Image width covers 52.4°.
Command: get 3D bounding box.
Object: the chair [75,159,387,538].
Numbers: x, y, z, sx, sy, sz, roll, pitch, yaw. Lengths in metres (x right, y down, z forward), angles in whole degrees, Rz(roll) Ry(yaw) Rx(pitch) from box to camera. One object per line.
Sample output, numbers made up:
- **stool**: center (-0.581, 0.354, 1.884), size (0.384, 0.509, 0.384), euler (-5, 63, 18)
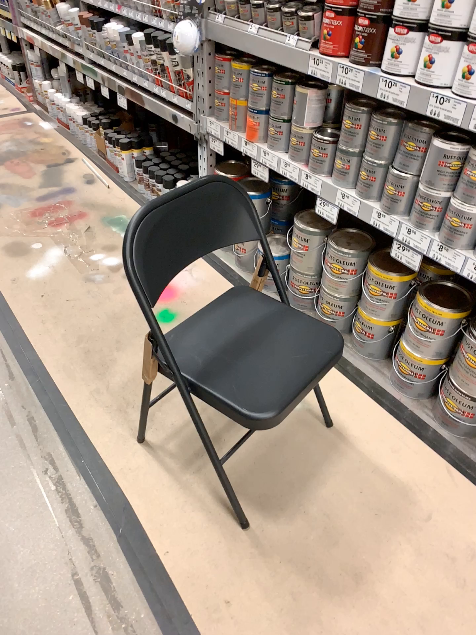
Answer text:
- **chair**: center (-0.017, 0.072, 1.241), size (0.475, 0.713, 0.452), euler (30, 48, 30)
